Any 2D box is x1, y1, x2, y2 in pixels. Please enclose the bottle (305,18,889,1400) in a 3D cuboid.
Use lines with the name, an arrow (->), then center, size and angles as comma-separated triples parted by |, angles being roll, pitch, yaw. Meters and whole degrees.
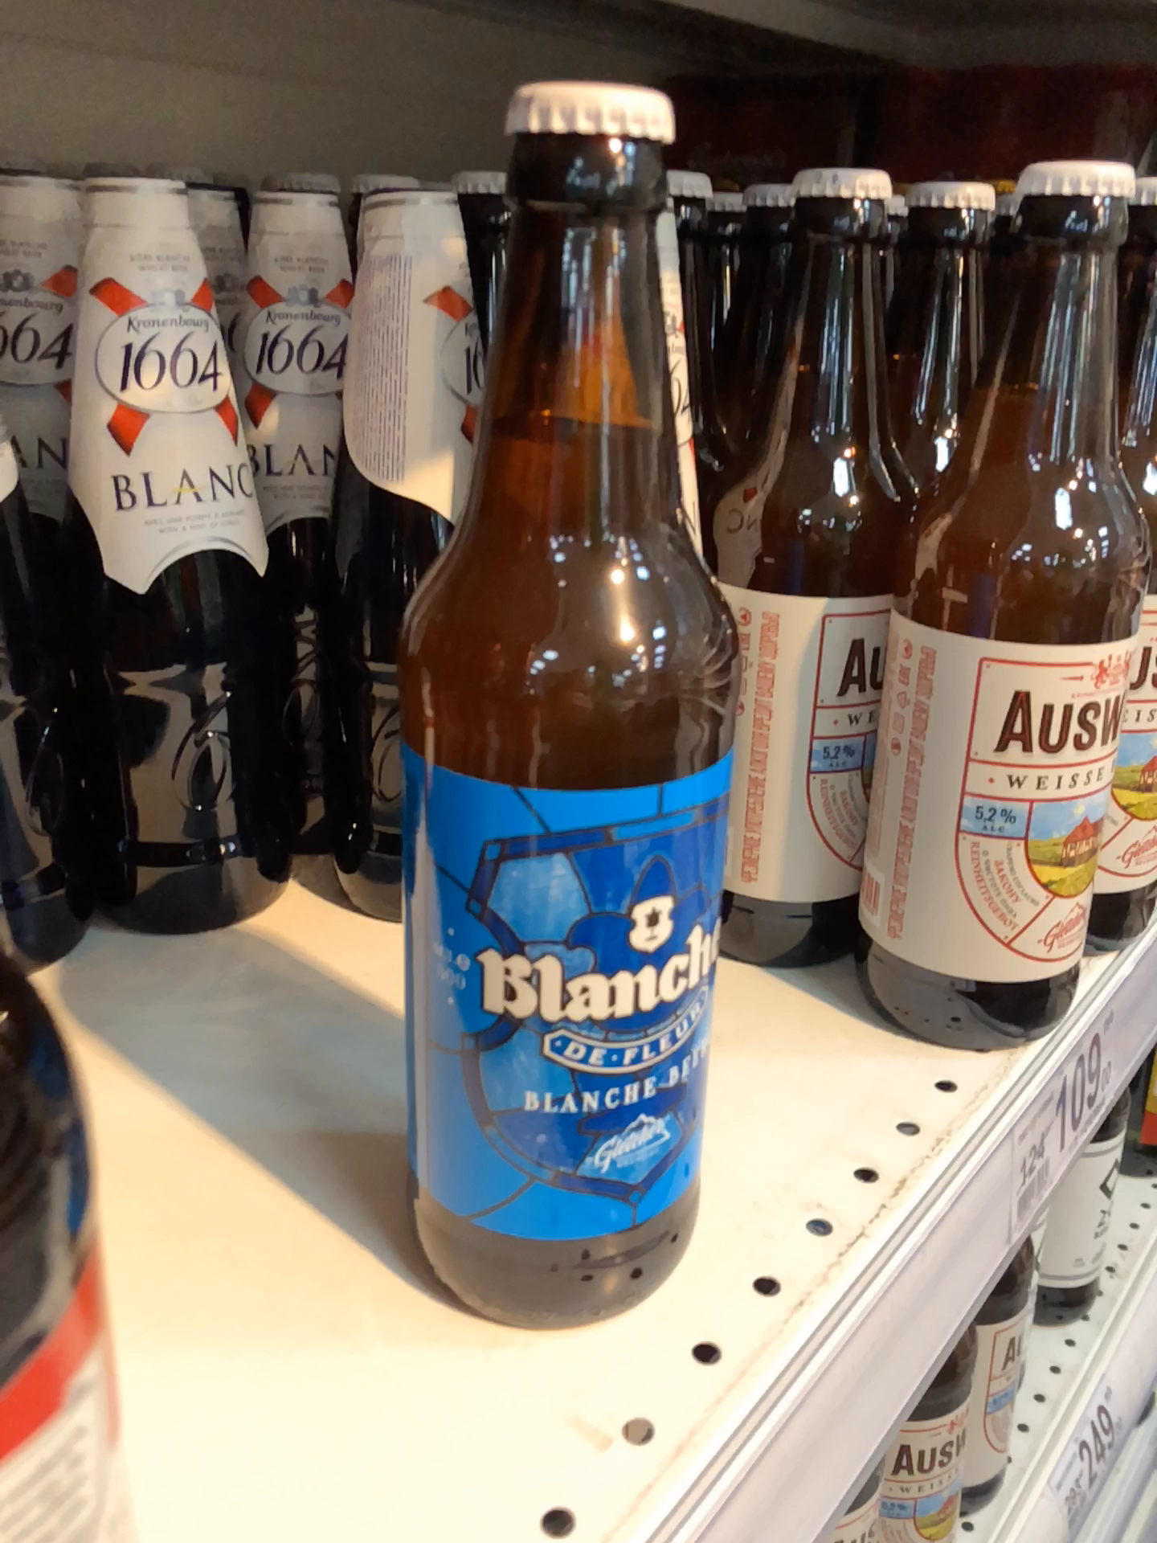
bottle -> -0.002, -0.004, 0.259 | 0.070, 0.244, 0.070 | 2, 22, -1
